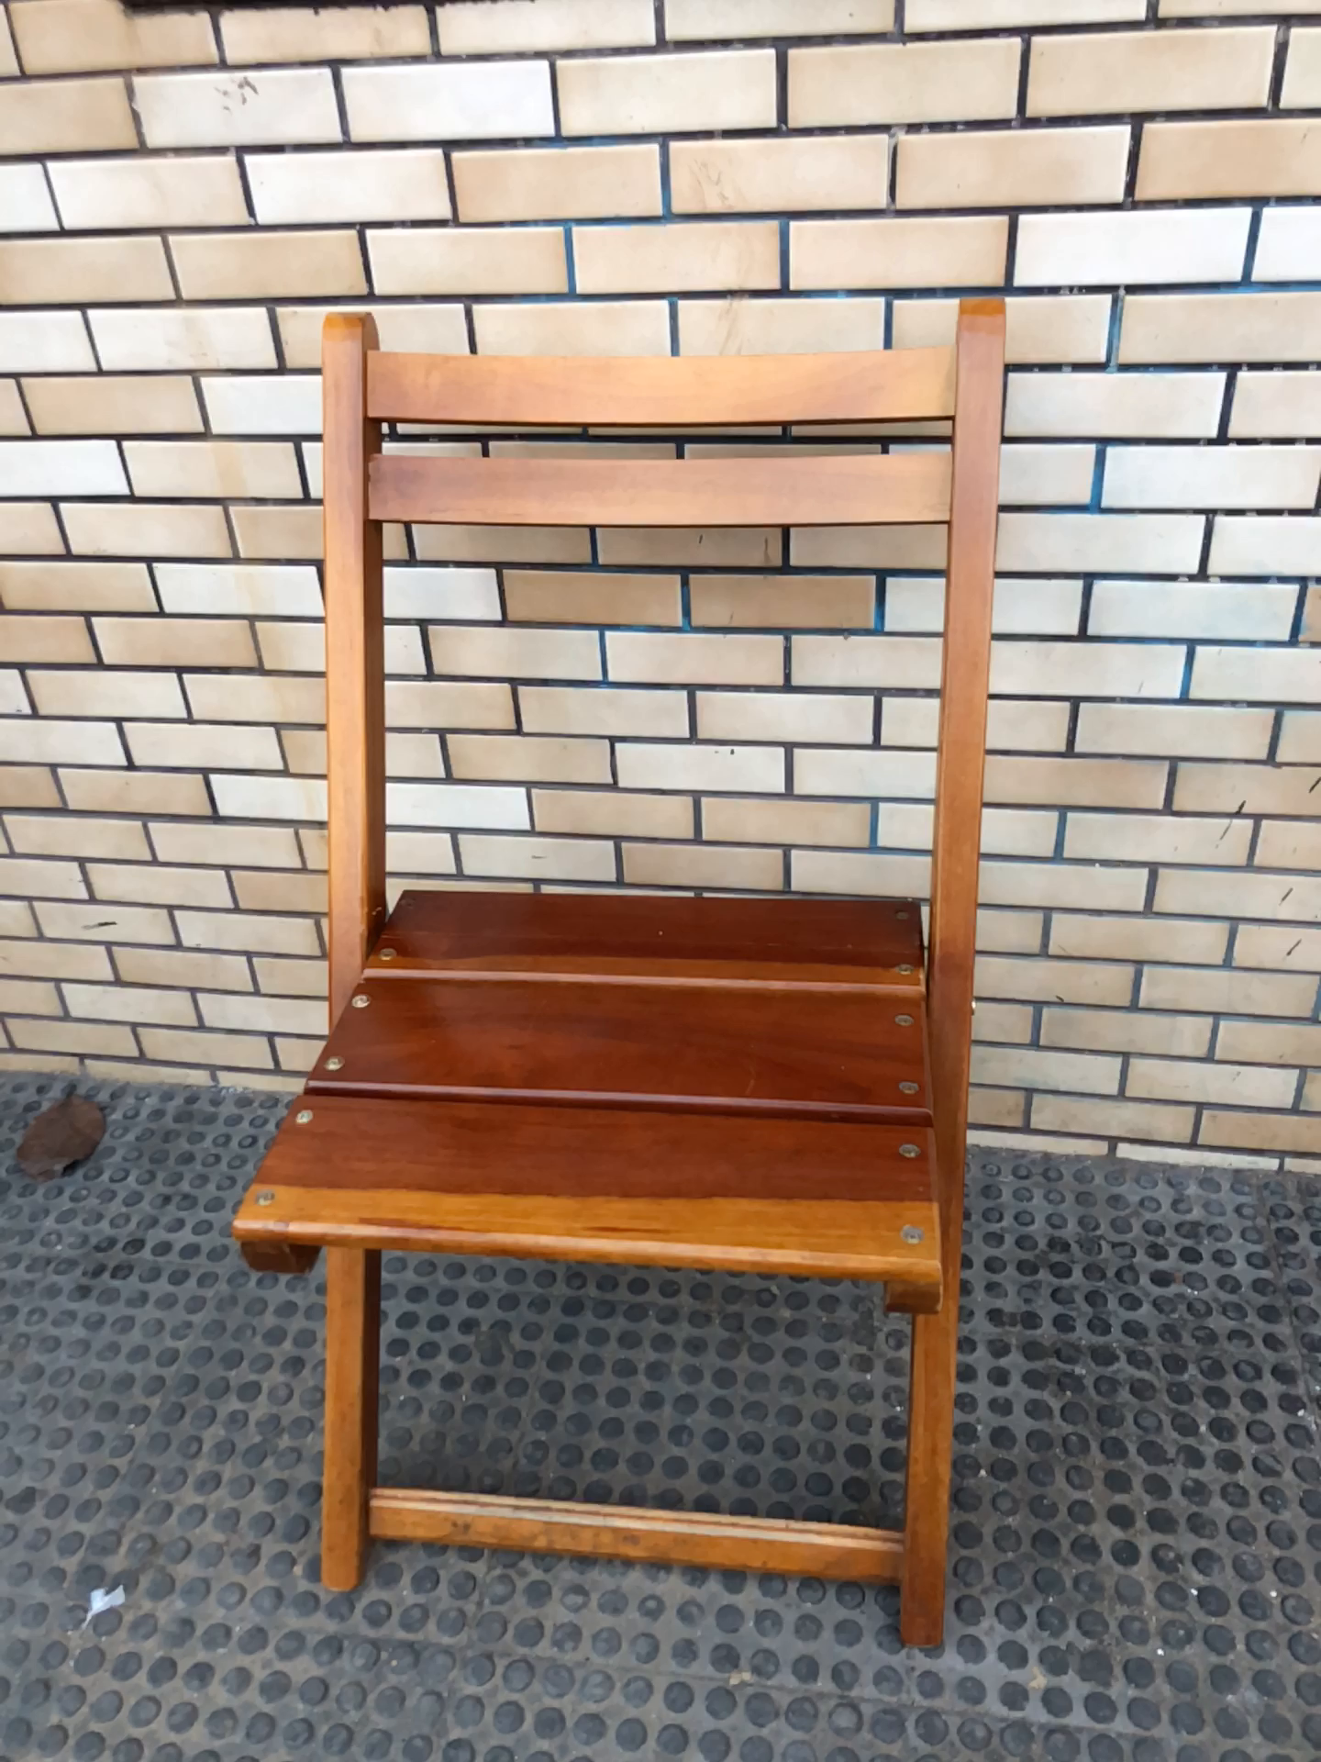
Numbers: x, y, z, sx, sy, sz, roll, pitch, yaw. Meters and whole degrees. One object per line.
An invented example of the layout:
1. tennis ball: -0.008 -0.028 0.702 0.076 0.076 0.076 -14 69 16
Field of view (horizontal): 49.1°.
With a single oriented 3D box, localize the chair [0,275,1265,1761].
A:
1. chair: -0.002 0.078 0.908 0.470 0.764 0.494 2 33 6
